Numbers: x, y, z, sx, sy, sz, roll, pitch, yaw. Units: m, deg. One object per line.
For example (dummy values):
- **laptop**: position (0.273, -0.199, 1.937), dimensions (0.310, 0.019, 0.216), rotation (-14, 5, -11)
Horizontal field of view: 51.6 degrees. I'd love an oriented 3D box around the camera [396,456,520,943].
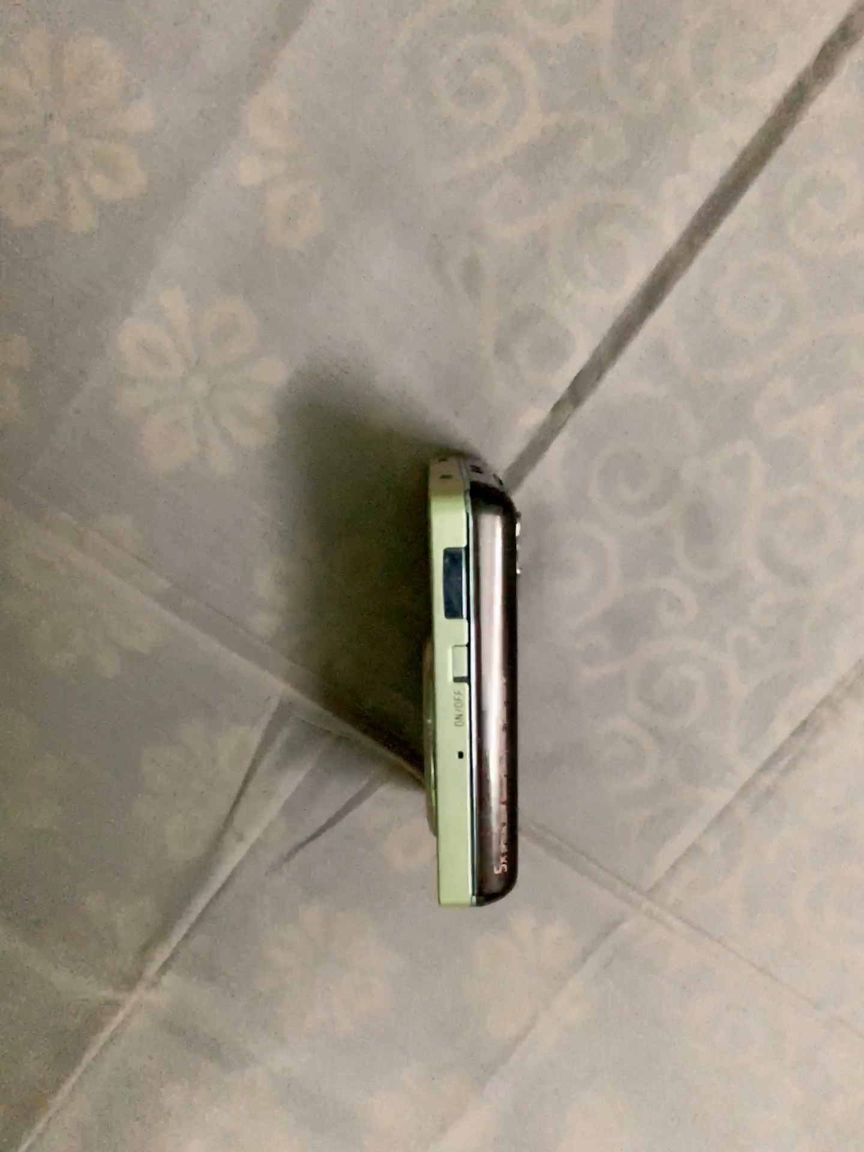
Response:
- **camera**: position (0.005, 0.022, 0.194), dimensions (0.021, 0.060, 0.088), rotation (-2, 103, -1)
